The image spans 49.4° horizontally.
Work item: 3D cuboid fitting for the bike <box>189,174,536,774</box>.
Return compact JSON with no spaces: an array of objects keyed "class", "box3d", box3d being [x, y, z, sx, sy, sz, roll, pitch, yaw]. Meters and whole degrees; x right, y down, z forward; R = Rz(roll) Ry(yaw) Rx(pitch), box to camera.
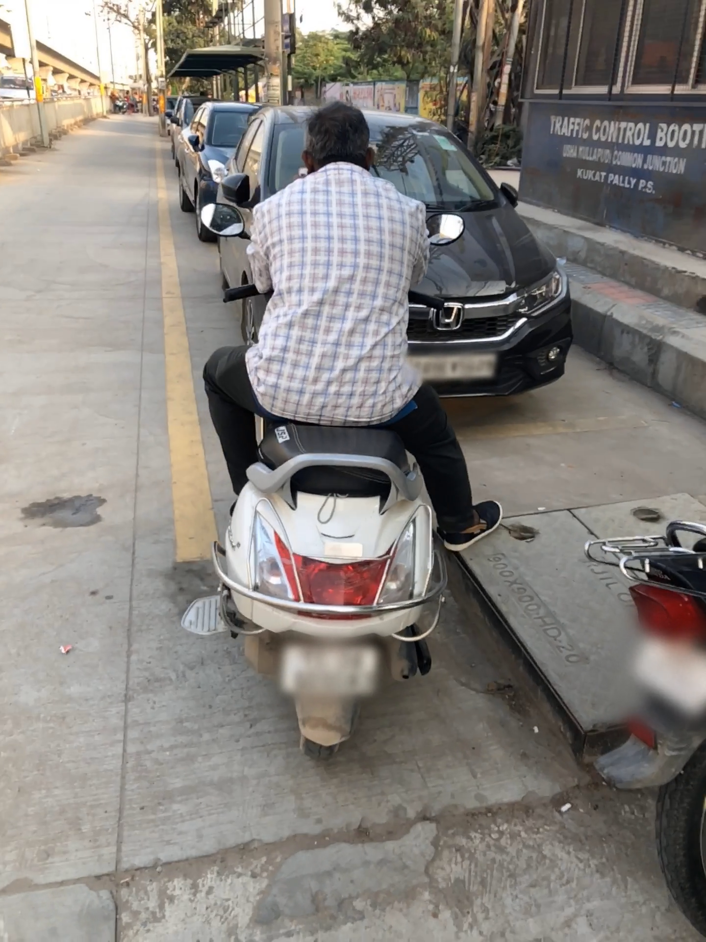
[{"class":"bike","box3d":[0.000,-0.180,2.247,0.640,0.858,1.609,0,34,-2]}]
